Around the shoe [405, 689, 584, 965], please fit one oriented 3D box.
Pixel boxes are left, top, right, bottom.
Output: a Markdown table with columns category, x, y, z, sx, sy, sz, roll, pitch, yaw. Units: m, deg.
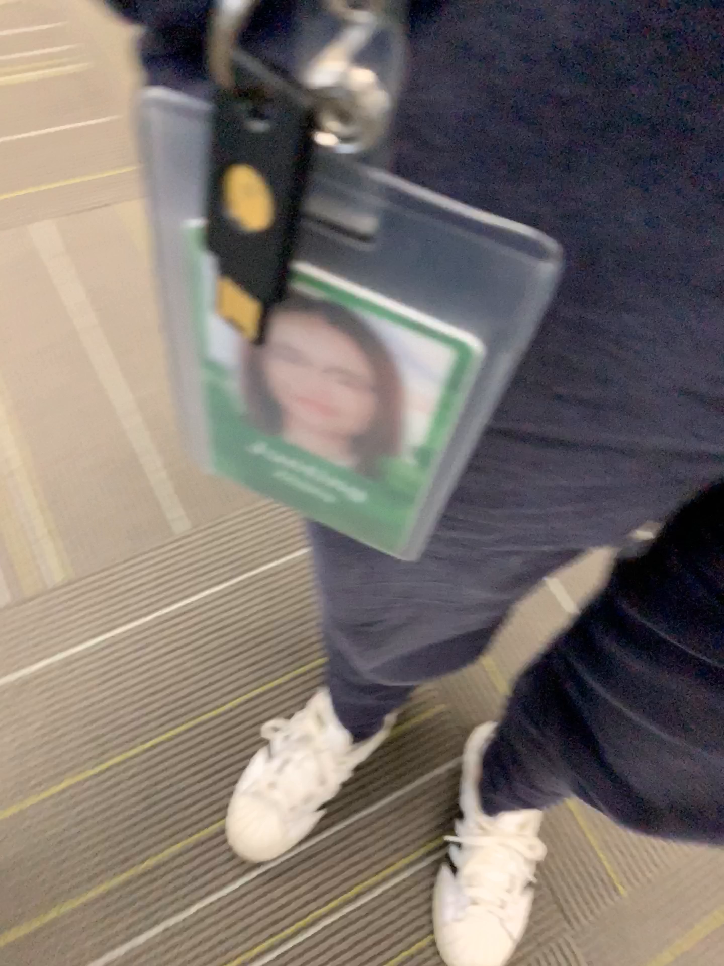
| category | x | y | z | sx | sy | sz | roll | pitch | yaw |
| --- | --- | --- | --- | --- | --- | --- | --- | --- | --- |
| shoe | 0.143 | 0.374 | 0.791 | 0.108 | 0.104 | 0.263 | 19 | 59 | 3 |

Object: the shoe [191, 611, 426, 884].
| category | x | y | z | sx | sy | sz | roll | pitch | yaw |
| --- | --- | --- | --- | --- | --- | --- | --- | --- | --- |
| shoe | -0.054 | 0.286 | 0.822 | 0.105 | 0.104 | 0.258 | 36 | 61 | 12 |
